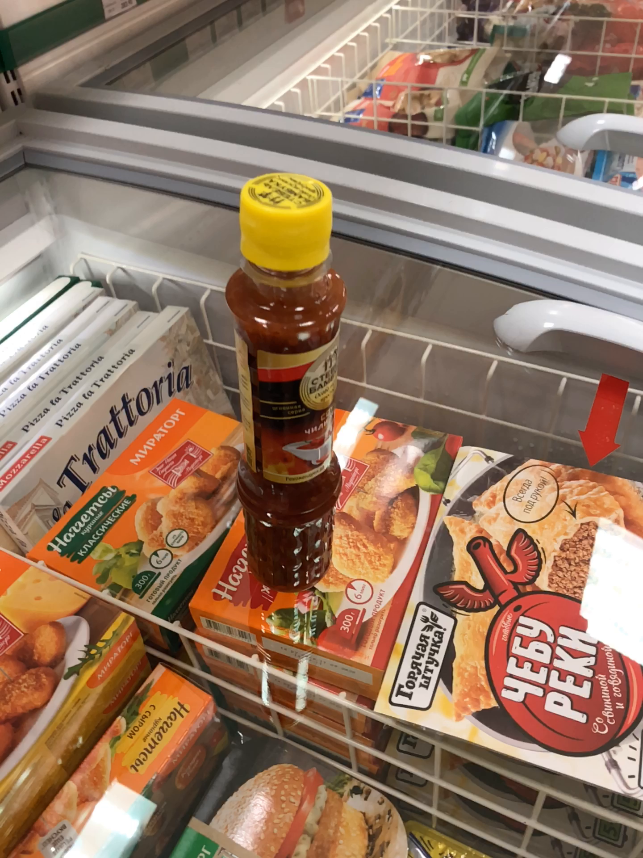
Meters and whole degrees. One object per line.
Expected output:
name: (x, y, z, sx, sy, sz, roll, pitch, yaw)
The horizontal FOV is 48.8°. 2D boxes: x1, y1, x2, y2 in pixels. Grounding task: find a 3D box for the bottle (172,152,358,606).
bottle: (-0.017, -0.004, 0.312, 0.047, 0.212, 0.048, 0, 46, 0)
